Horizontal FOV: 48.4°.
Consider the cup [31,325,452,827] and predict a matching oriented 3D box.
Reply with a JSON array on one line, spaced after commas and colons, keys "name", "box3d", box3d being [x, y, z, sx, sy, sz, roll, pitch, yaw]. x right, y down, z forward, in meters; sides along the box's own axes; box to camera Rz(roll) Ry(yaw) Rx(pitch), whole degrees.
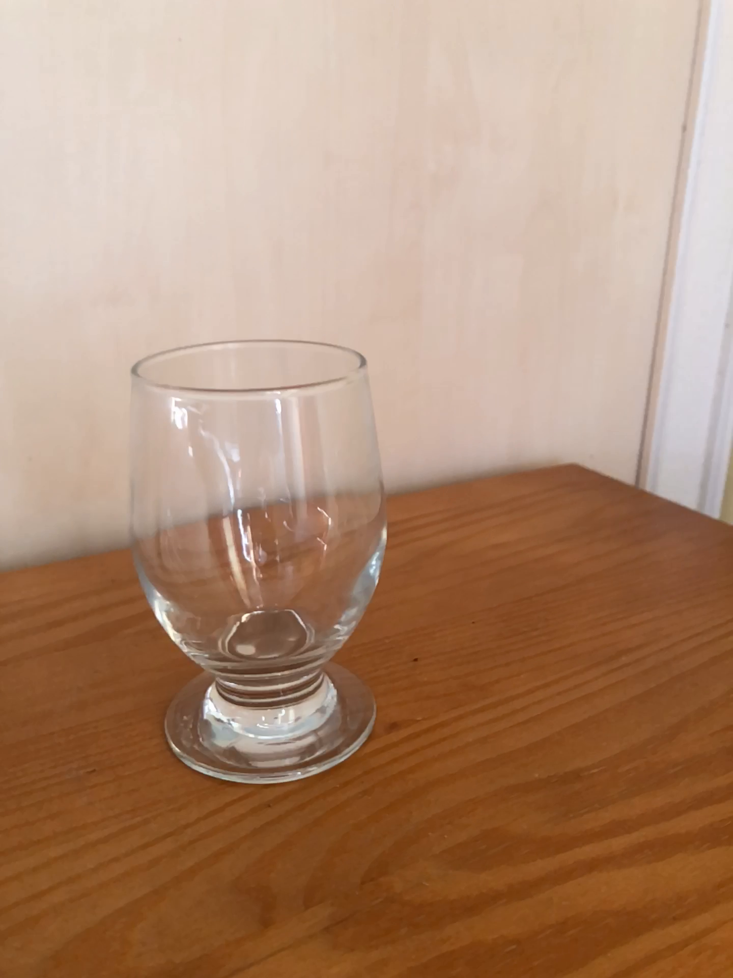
[{"name": "cup", "box3d": [-0.033, 0.014, 0.238, 0.081, 0.107, 0.079, 1, 19, 0]}]
